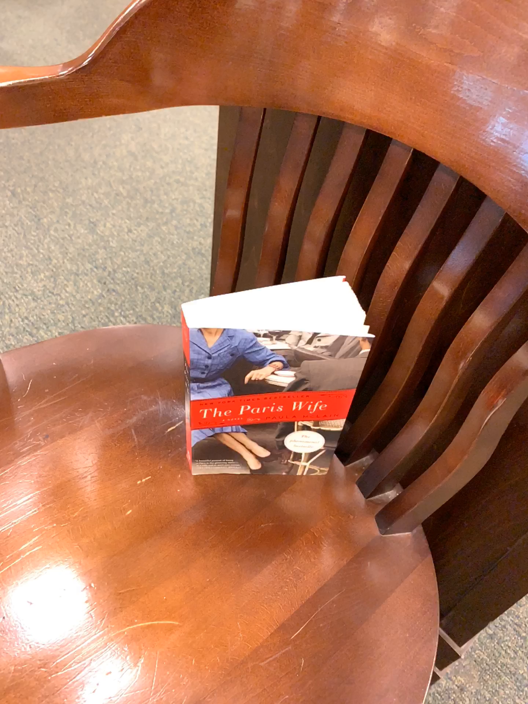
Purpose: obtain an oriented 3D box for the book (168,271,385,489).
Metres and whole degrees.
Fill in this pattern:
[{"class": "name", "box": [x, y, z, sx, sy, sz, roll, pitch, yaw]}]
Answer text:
[{"class": "book", "box": [-0.004, 0.032, 0.468, 0.150, 0.199, 0.071, -2, 49, -11]}]
